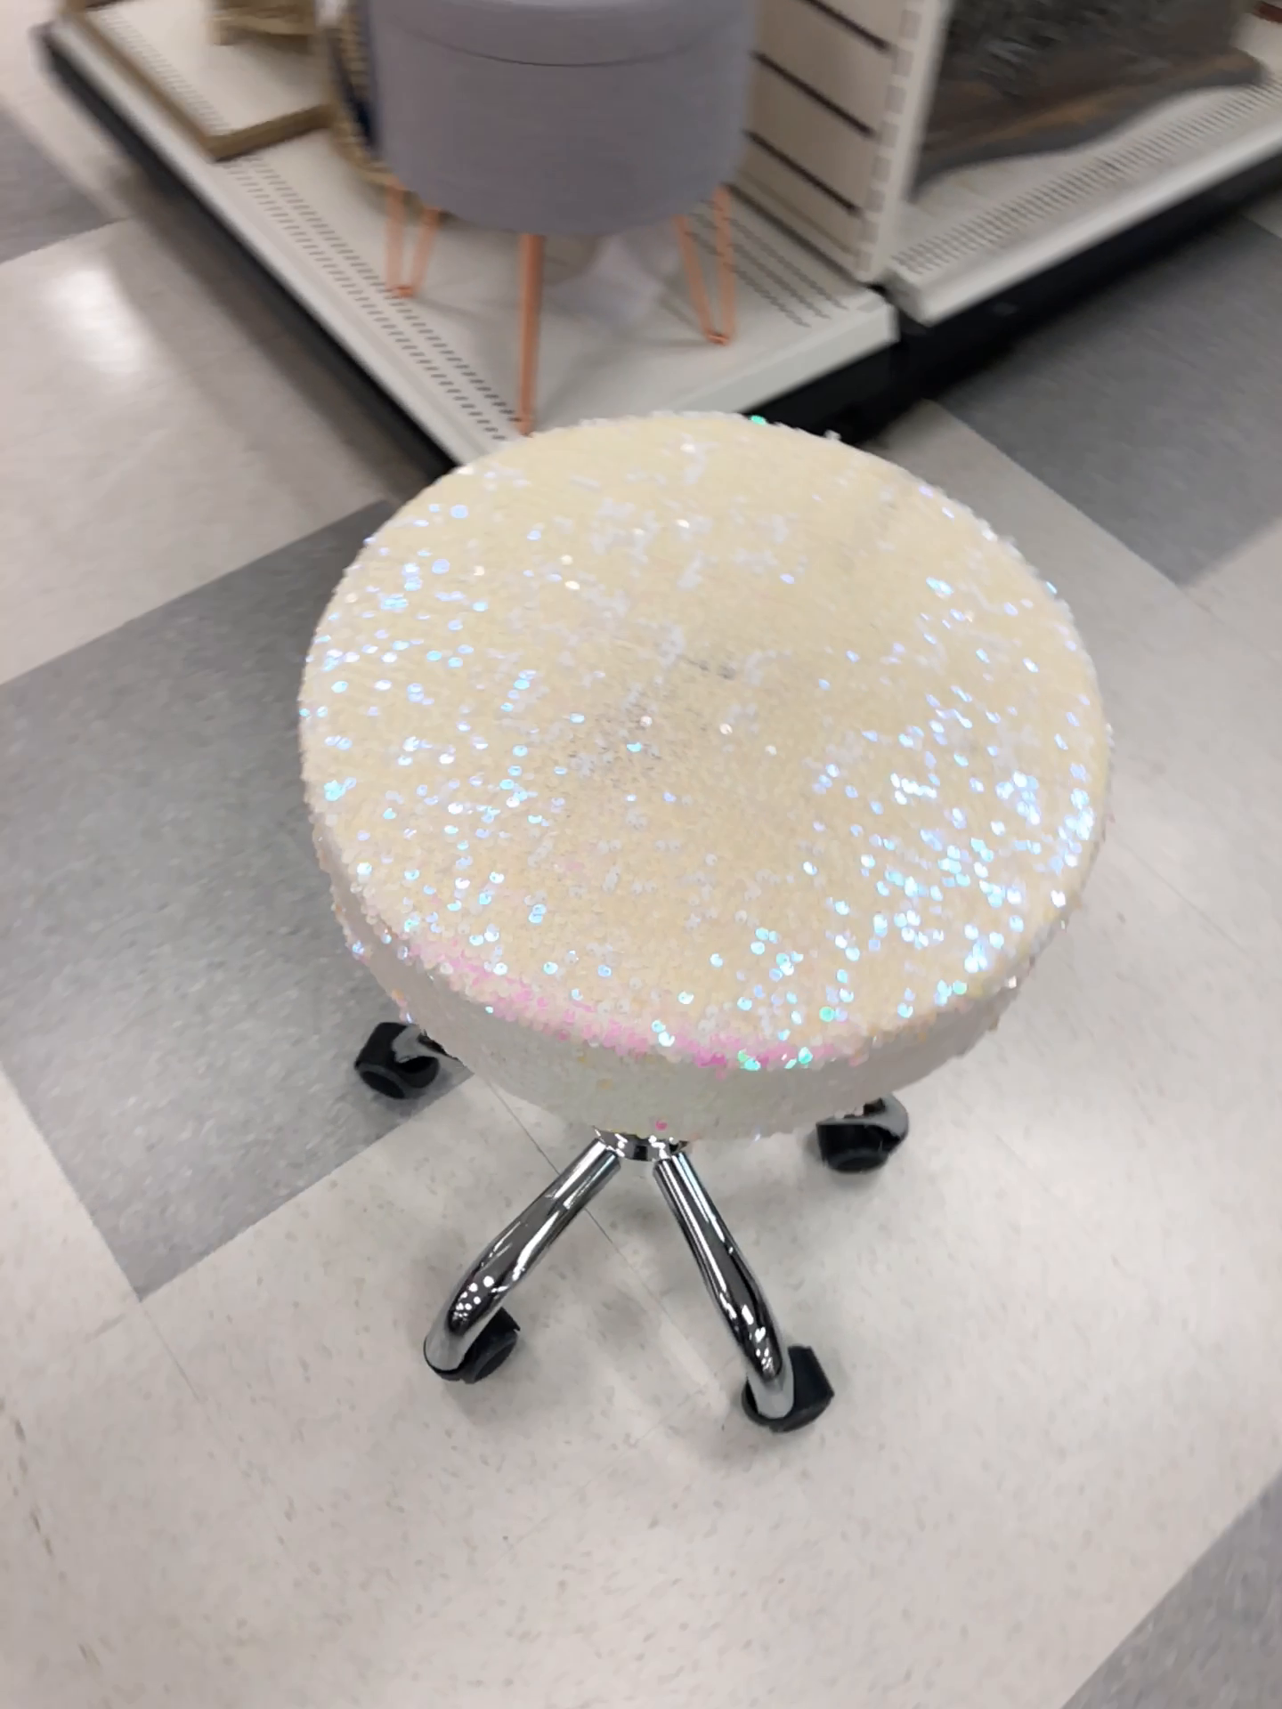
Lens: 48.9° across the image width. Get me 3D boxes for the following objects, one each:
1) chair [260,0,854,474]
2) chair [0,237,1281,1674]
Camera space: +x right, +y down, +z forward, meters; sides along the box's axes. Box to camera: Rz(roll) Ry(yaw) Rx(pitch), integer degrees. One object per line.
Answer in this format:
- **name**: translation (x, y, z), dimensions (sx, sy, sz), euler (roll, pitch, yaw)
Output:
- **chair**: translation (-0.070, -0.612, 1.175), dimensions (0.307, 0.383, 0.306), euler (-32, 64, -21)
- **chair**: translation (0.013, 0.095, 0.829), dimensions (0.437, 0.592, 0.466), euler (-32, 64, -21)
